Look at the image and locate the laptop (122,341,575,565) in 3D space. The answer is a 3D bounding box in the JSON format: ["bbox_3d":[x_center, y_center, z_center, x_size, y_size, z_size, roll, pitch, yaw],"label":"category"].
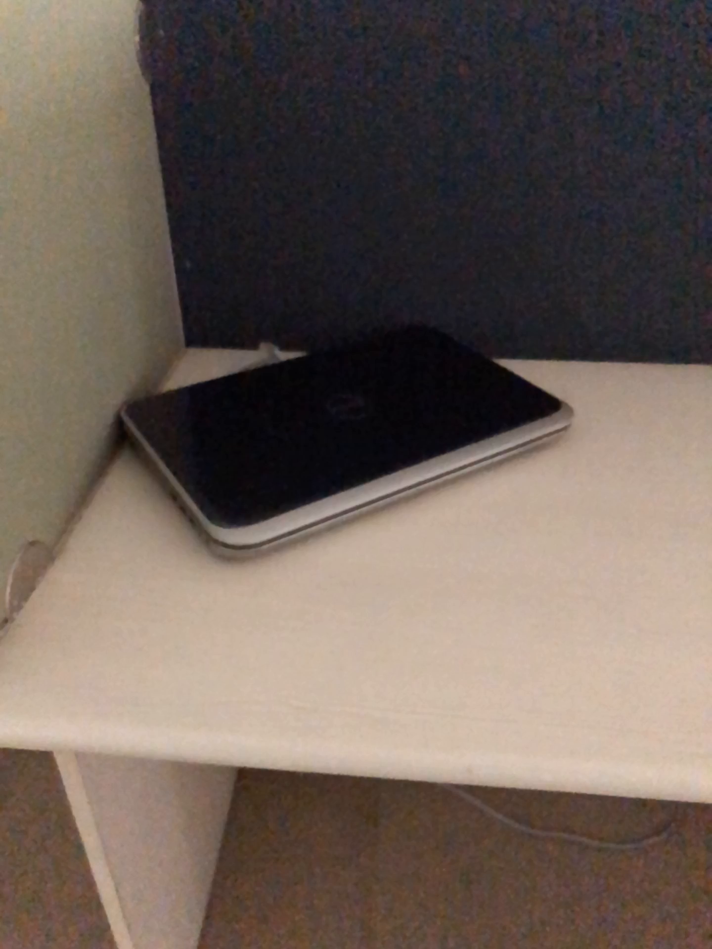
[{"bbox_3d":[-0.012,-0.044,0.799,0.372,0.010,0.246,-20,38,-23],"label":"laptop"}]
